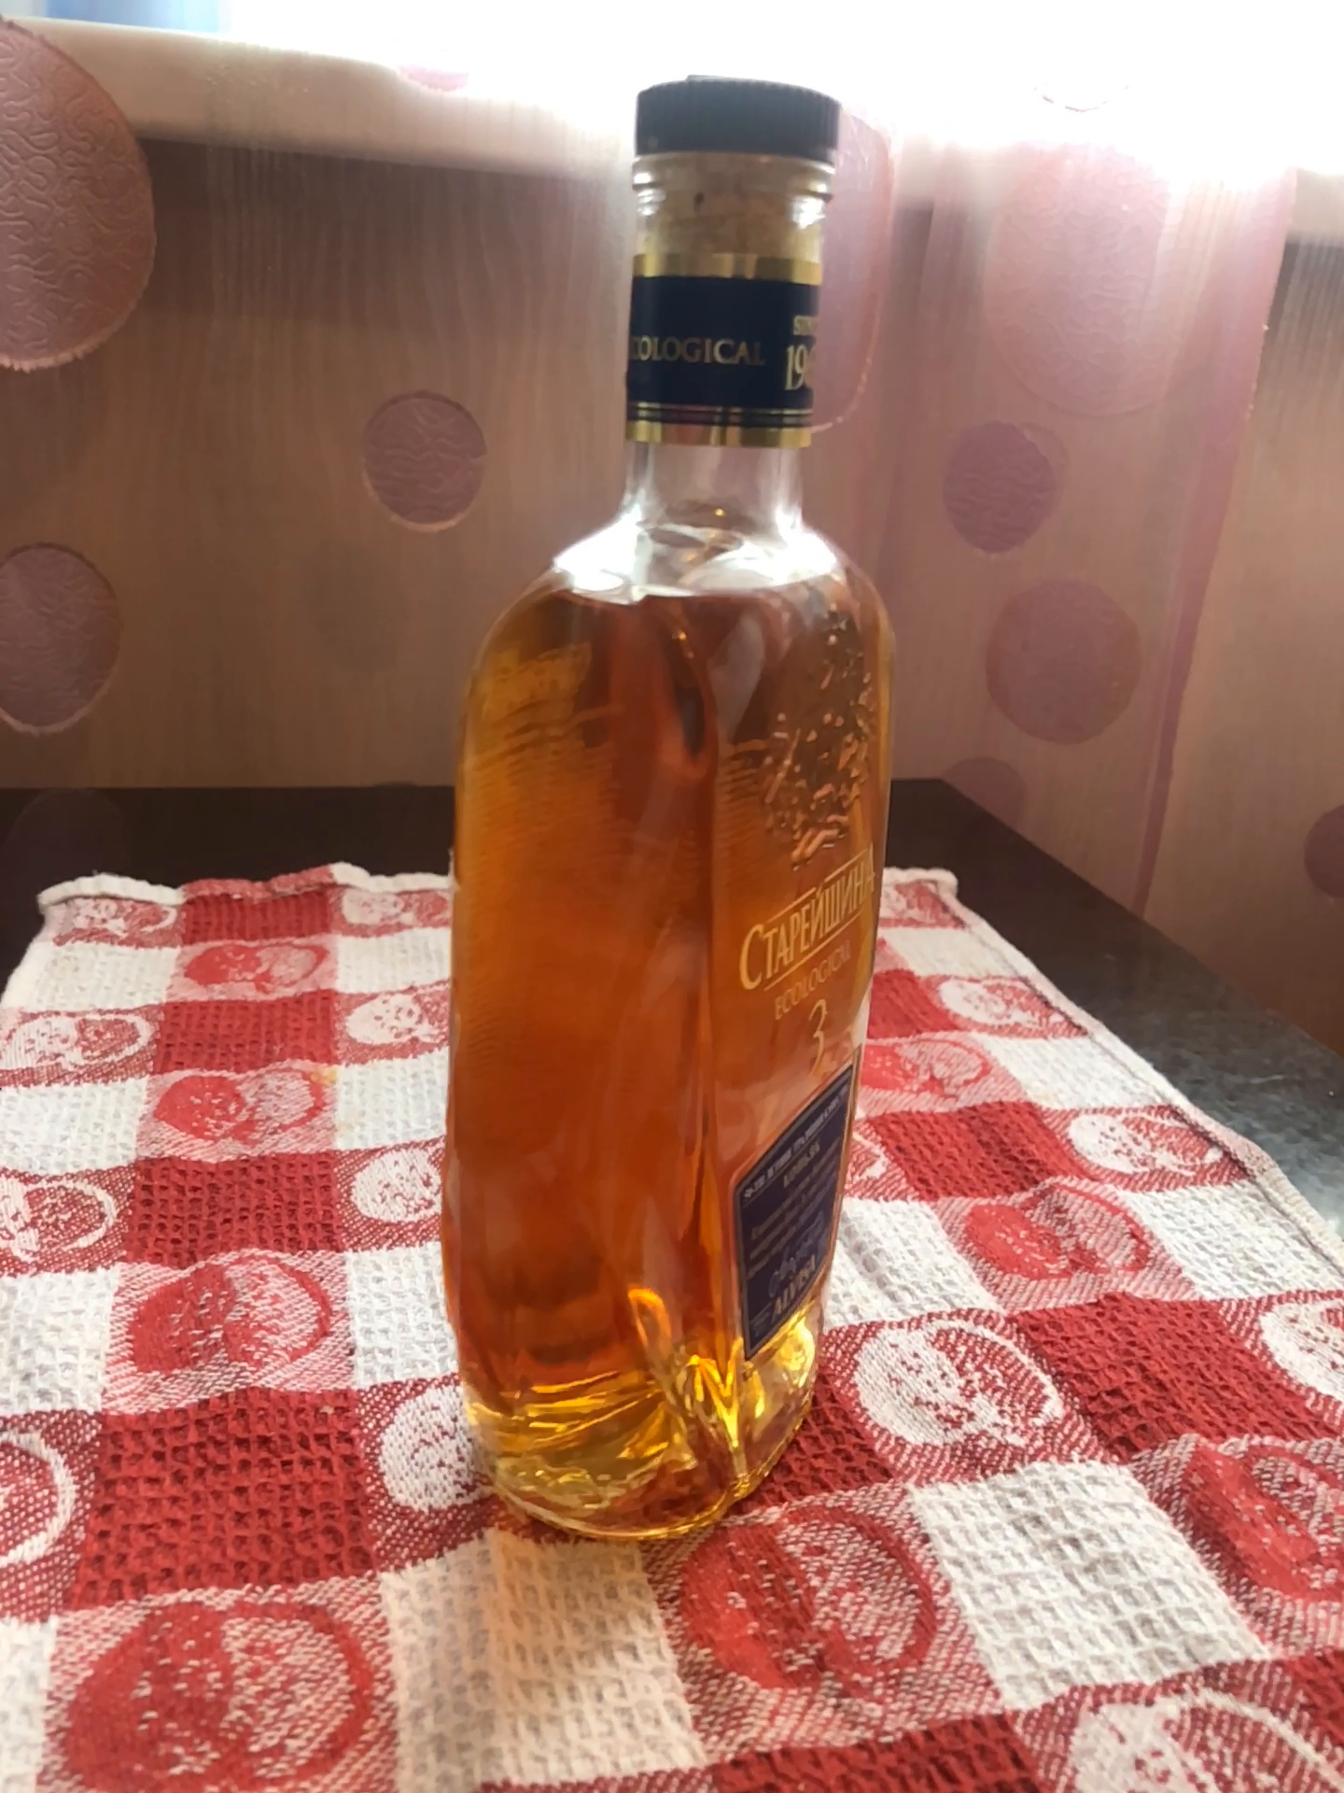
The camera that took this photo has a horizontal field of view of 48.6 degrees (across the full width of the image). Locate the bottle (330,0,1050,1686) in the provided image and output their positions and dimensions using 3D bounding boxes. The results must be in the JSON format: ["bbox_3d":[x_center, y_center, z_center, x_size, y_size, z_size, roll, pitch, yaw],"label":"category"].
[{"bbox_3d":[0.004,-0.008,0.238,0.050,0.219,0.110,14,22,27],"label":"bottle"}]
